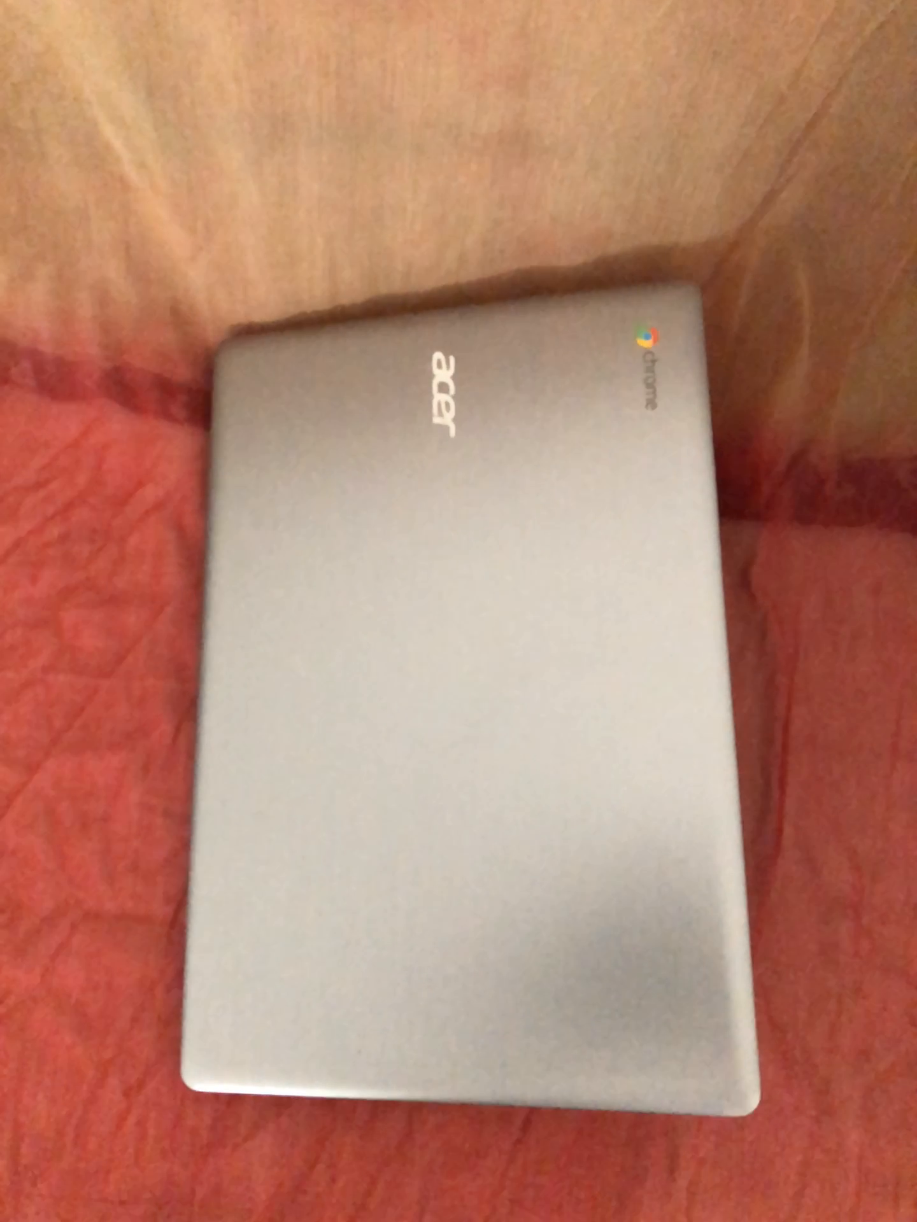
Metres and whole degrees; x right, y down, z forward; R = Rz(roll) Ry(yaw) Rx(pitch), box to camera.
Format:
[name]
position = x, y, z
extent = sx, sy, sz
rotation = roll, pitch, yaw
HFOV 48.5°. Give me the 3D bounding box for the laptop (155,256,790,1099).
[laptop]
position = 0.002, 0.019, 0.417
extent = 0.219, 0.066, 0.322
rotation = 0, 77, 0
